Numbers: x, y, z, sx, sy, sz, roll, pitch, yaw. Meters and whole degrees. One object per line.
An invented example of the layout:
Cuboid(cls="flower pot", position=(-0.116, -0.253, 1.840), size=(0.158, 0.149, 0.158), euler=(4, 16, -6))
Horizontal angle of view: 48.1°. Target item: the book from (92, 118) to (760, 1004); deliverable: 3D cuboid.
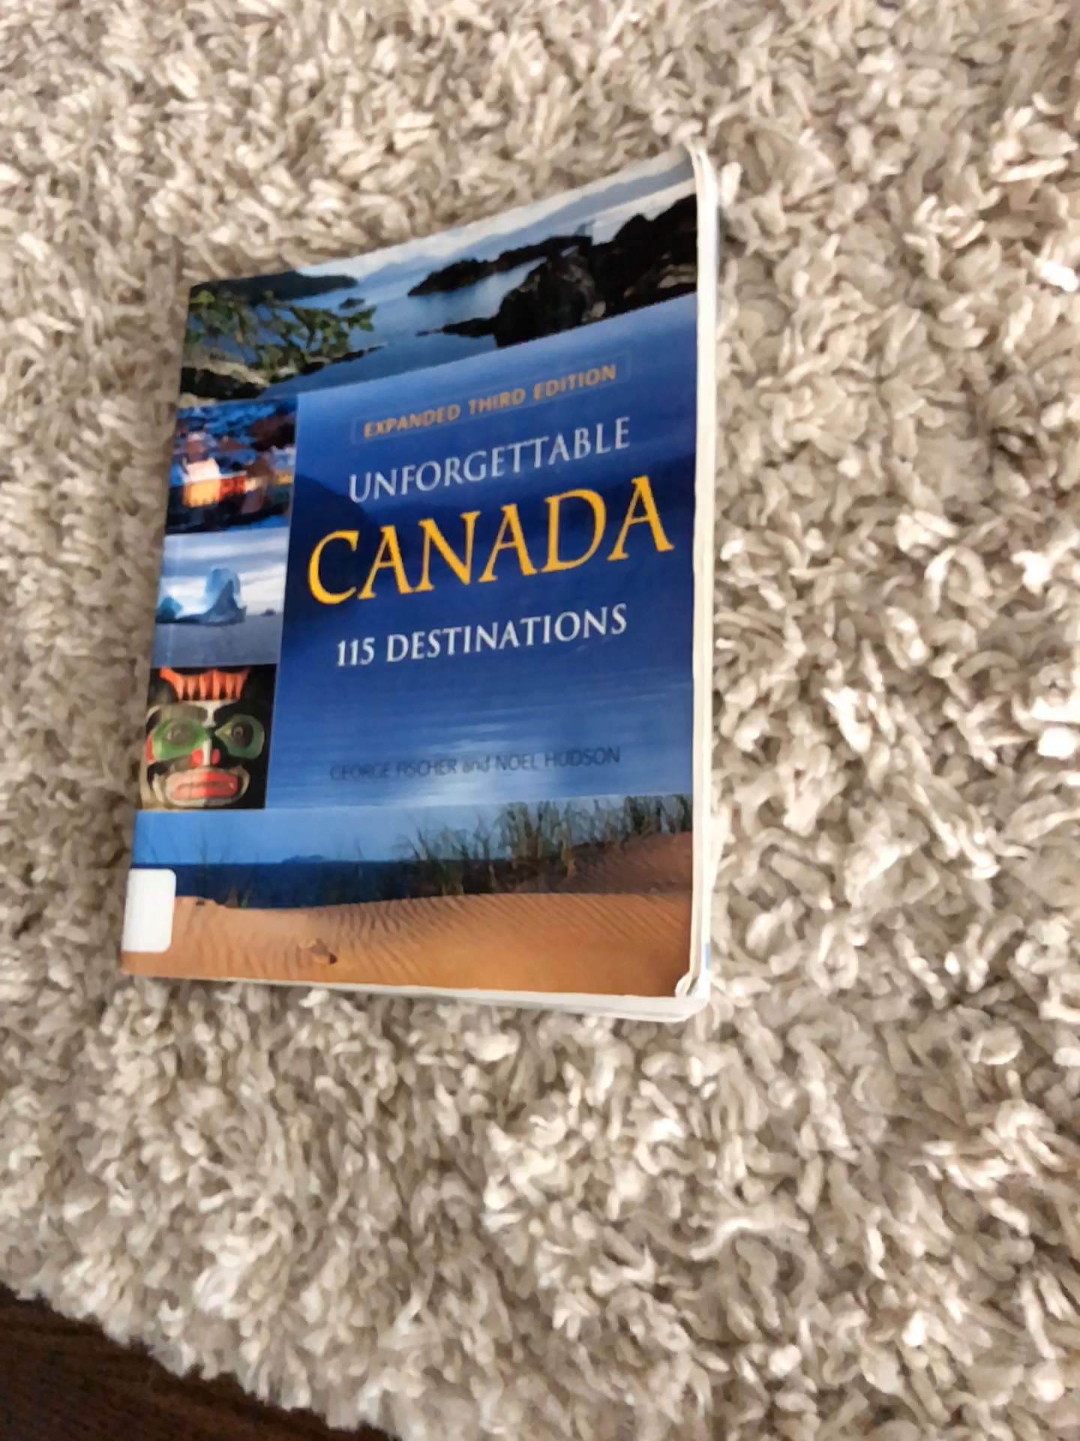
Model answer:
Cuboid(cls="book", position=(-0.037, -0.039, 0.370), size=(0.201, 0.040, 0.234), euler=(-4, 77, 28))
